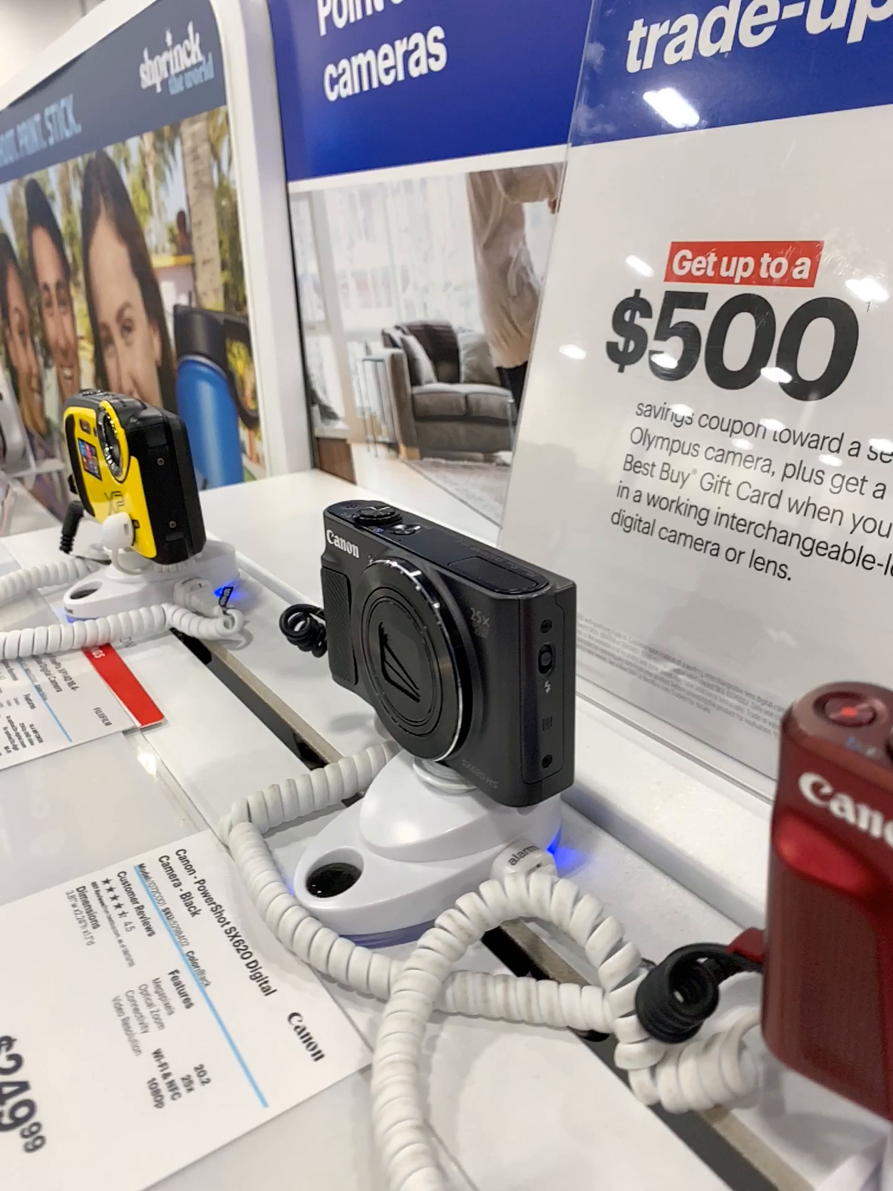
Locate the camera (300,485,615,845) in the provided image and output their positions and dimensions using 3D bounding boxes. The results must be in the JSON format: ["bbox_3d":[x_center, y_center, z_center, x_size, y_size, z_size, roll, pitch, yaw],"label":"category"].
[{"bbox_3d":[-0.001,0.012,0.249,0.030,0.060,0.100,-16,25,-30],"label":"camera"}]
